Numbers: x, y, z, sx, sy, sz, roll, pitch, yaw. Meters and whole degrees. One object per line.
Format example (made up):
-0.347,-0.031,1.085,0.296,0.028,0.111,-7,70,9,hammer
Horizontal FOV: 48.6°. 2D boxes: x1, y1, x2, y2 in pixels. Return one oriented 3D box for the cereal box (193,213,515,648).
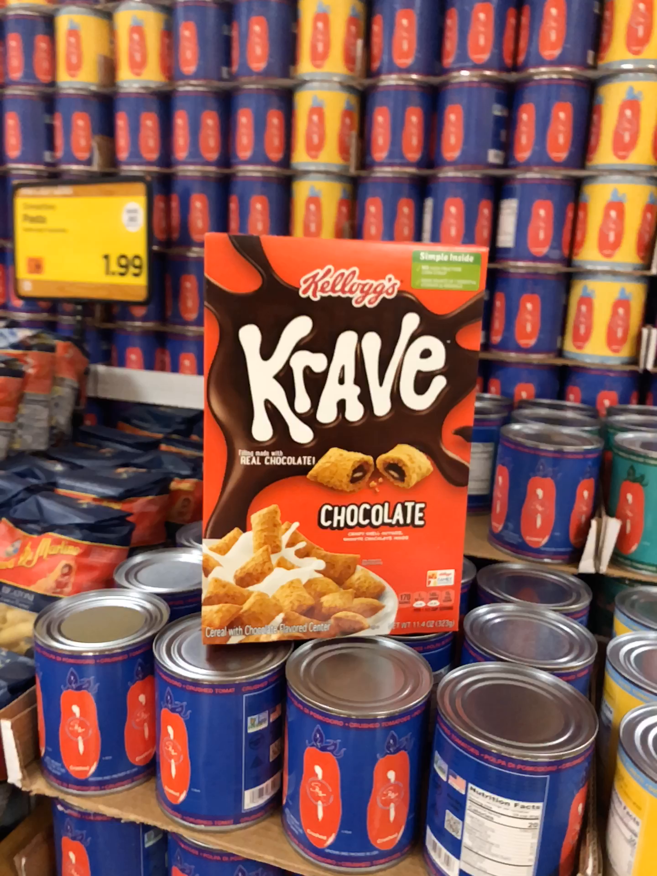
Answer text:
0.011,-0.003,0.526,0.210,0.289,0.060,0,11,-12,cereal box
